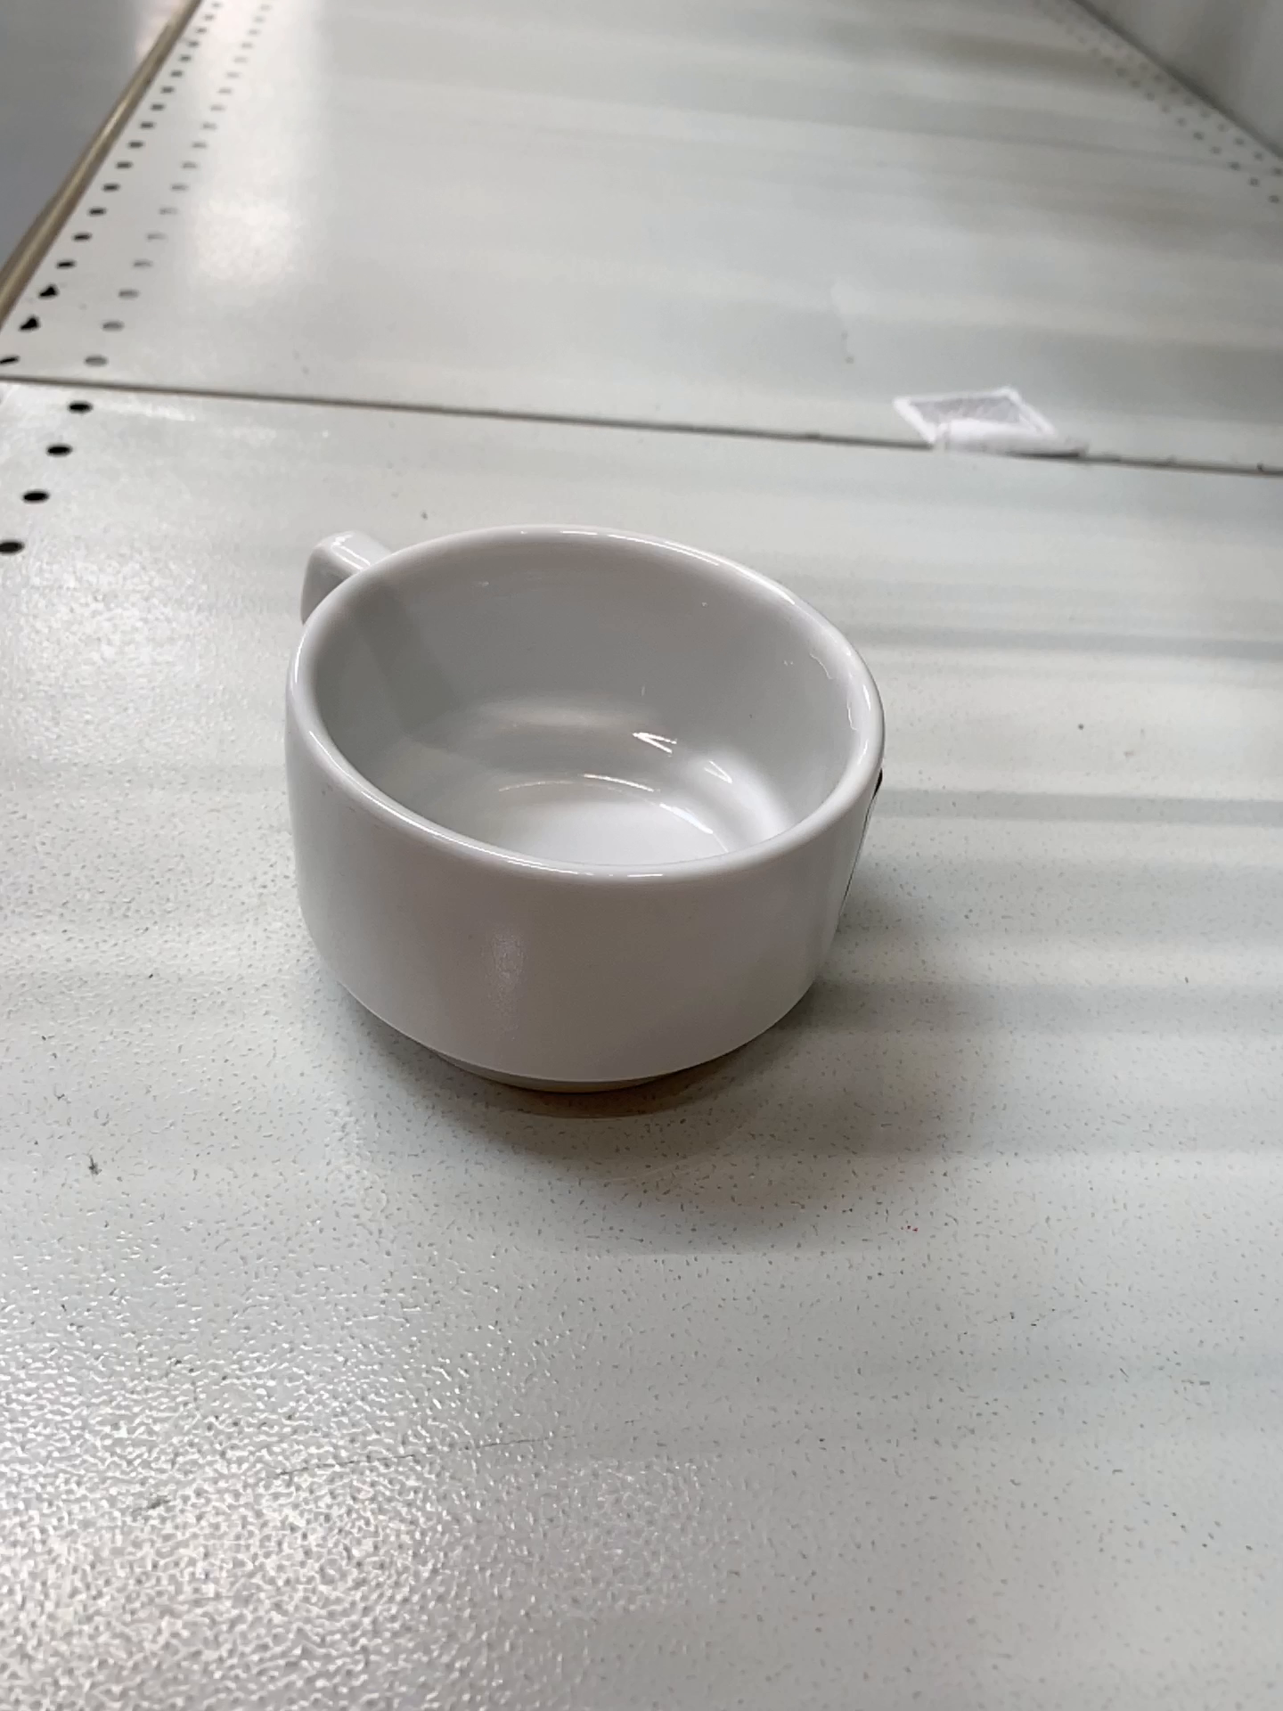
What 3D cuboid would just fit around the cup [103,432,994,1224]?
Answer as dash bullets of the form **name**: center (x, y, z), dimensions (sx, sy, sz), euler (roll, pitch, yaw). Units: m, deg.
- **cup**: center (-0.019, -0.015, 0.227), dimensions (0.091, 0.051, 0.111), euler (-27, 54, -33)
